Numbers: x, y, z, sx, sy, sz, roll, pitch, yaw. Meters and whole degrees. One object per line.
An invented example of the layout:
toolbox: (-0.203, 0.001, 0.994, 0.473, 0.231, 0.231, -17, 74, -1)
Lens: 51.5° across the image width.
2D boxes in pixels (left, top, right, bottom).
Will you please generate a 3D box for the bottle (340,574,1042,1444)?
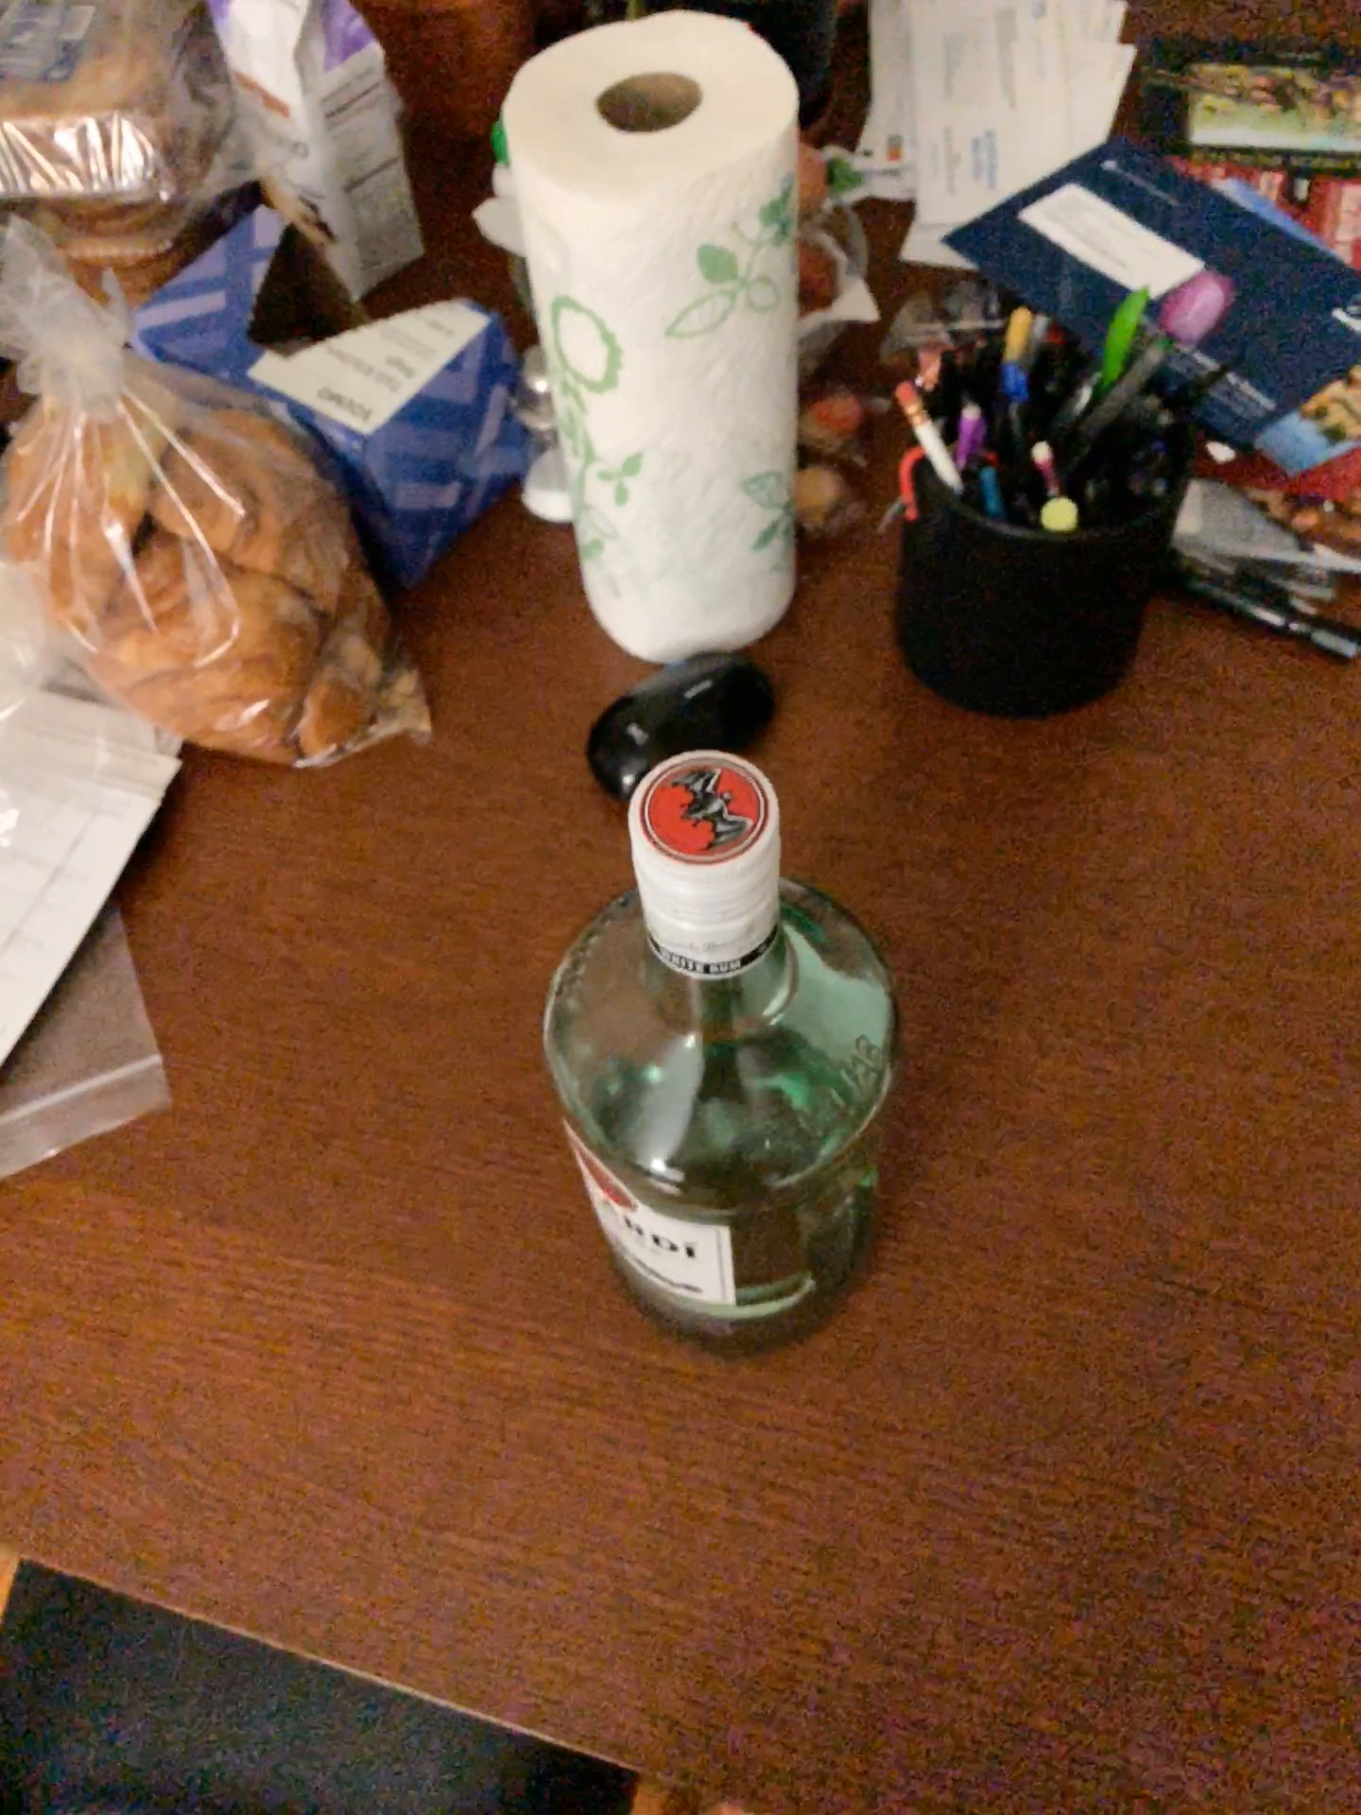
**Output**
bottle: (0.011, 0.065, 0.483, 0.120, 0.329, 0.120, -2, 60, 3)
